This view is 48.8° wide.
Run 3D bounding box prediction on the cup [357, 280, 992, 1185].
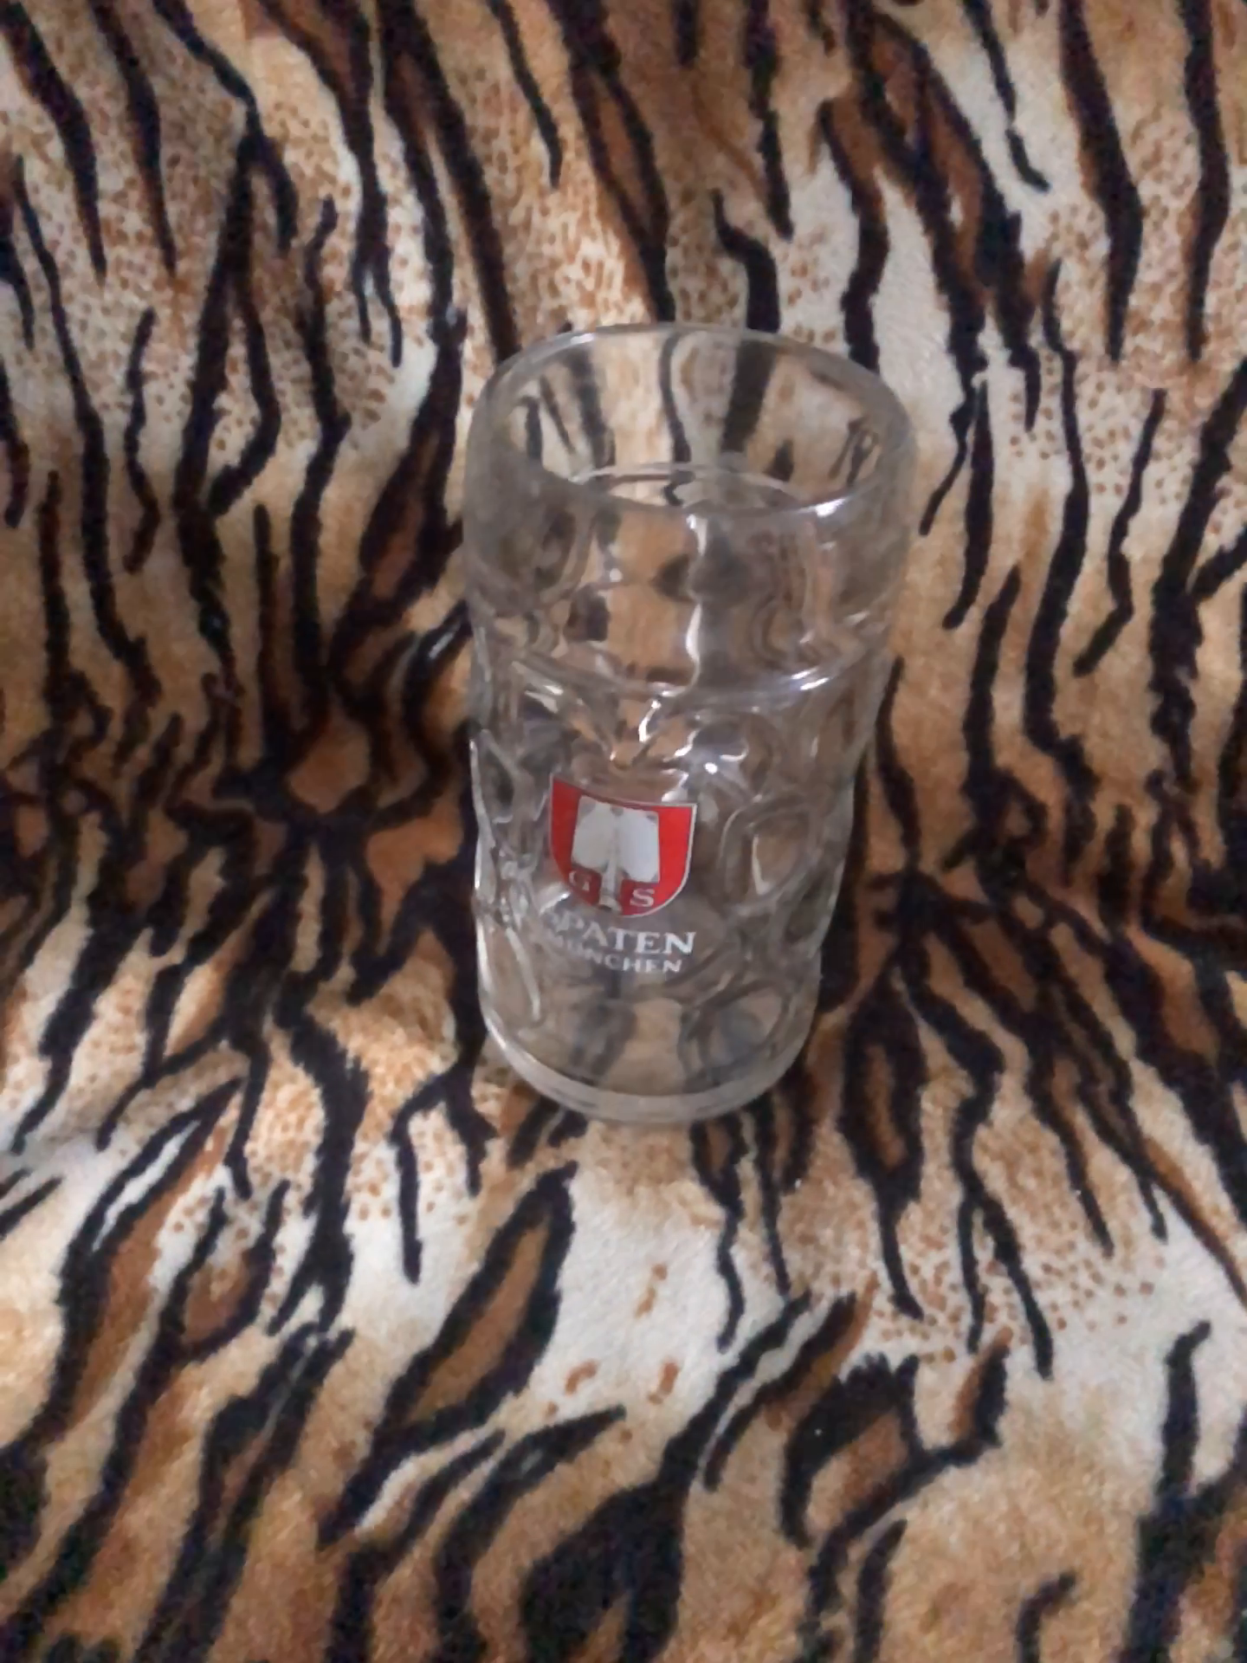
[{"bbox_3d":[0.022,-0.033,0.398,0.120,0.194,0.150,11,38,14],"label":"cup"}]
